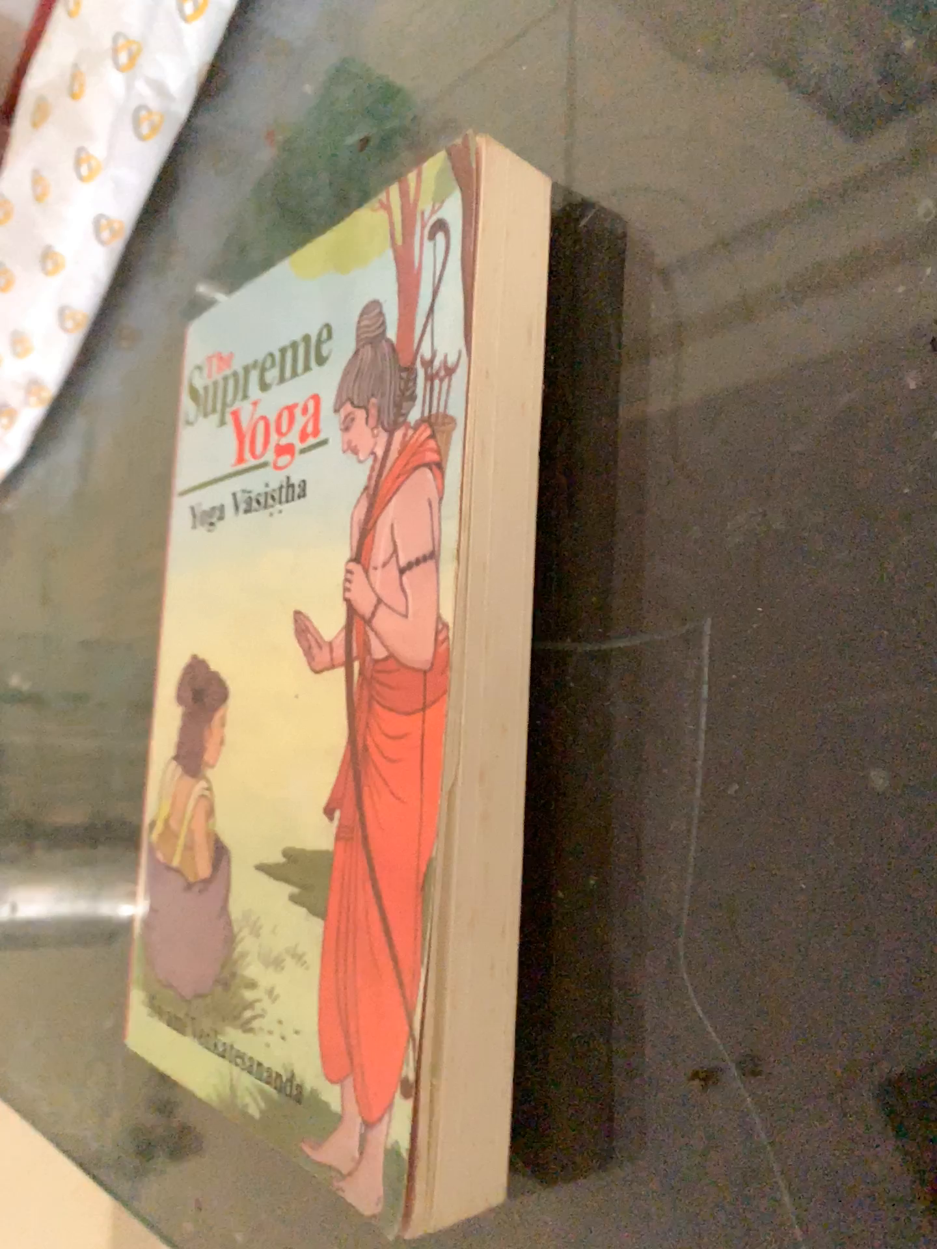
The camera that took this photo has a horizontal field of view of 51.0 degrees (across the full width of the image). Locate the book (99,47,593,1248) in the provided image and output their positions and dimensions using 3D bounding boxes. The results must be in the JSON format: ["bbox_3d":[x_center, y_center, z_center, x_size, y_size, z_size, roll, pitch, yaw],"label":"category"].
[{"bbox_3d":[-0.036,0.003,0.232,0.141,0.030,0.210,-8,76,50],"label":"book"}]
